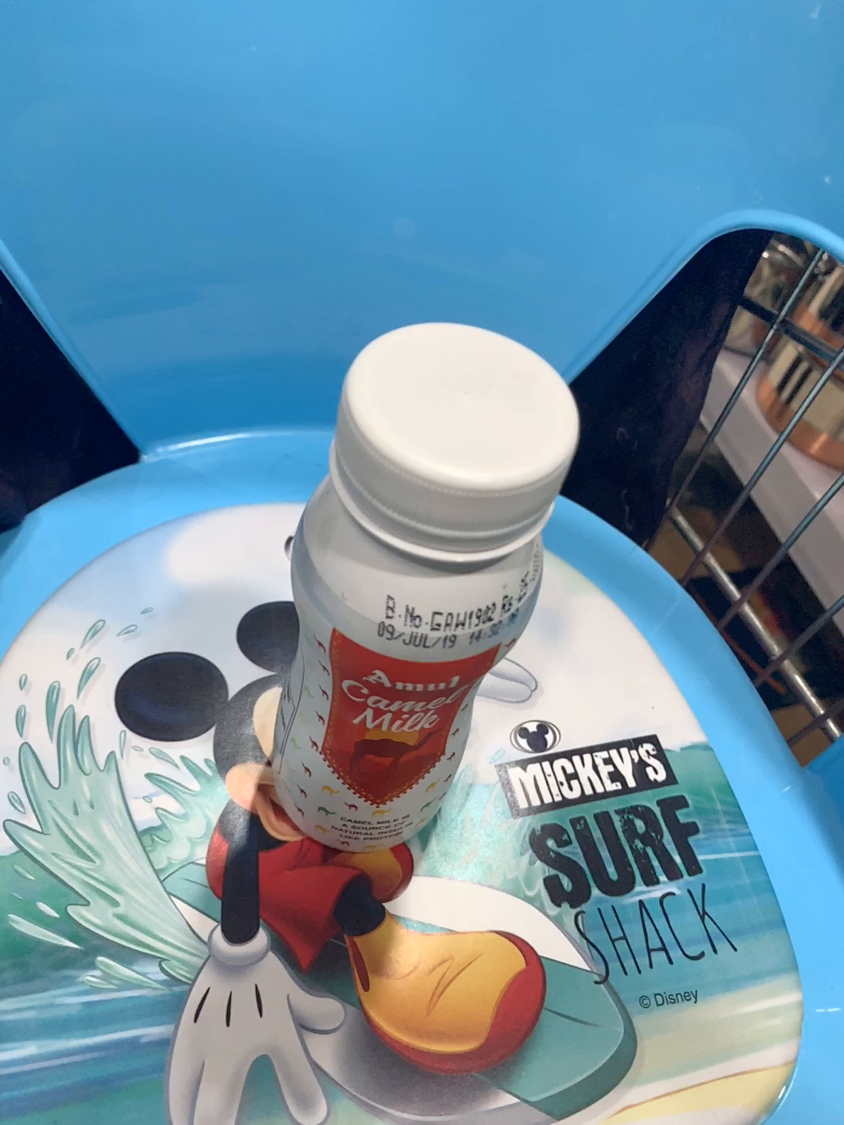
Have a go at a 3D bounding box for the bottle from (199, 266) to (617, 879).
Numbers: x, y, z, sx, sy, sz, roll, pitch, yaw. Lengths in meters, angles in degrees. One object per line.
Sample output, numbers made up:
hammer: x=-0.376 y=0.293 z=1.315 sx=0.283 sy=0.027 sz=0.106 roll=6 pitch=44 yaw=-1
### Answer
bottle: x=-0.012 y=0.013 z=0.192 sx=0.060 sy=0.130 sz=0.060 roll=6 pitch=48 yaw=-6
